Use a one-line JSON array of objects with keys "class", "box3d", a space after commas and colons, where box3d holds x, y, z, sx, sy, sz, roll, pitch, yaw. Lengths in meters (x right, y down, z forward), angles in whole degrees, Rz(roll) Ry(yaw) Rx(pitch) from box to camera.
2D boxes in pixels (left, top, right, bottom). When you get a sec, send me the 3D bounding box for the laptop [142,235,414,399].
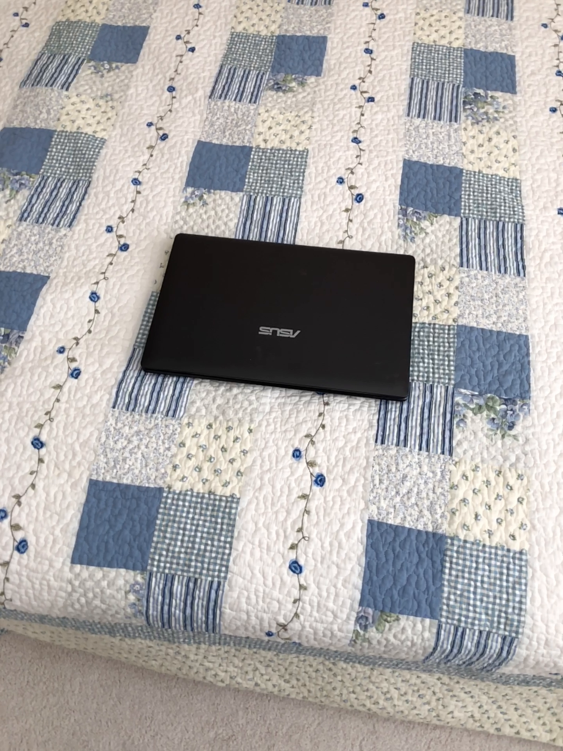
[{"class": "laptop", "box3d": [0.003, -0.094, 0.901, 0.369, 0.006, 0.235, 6, 63, 5]}]
